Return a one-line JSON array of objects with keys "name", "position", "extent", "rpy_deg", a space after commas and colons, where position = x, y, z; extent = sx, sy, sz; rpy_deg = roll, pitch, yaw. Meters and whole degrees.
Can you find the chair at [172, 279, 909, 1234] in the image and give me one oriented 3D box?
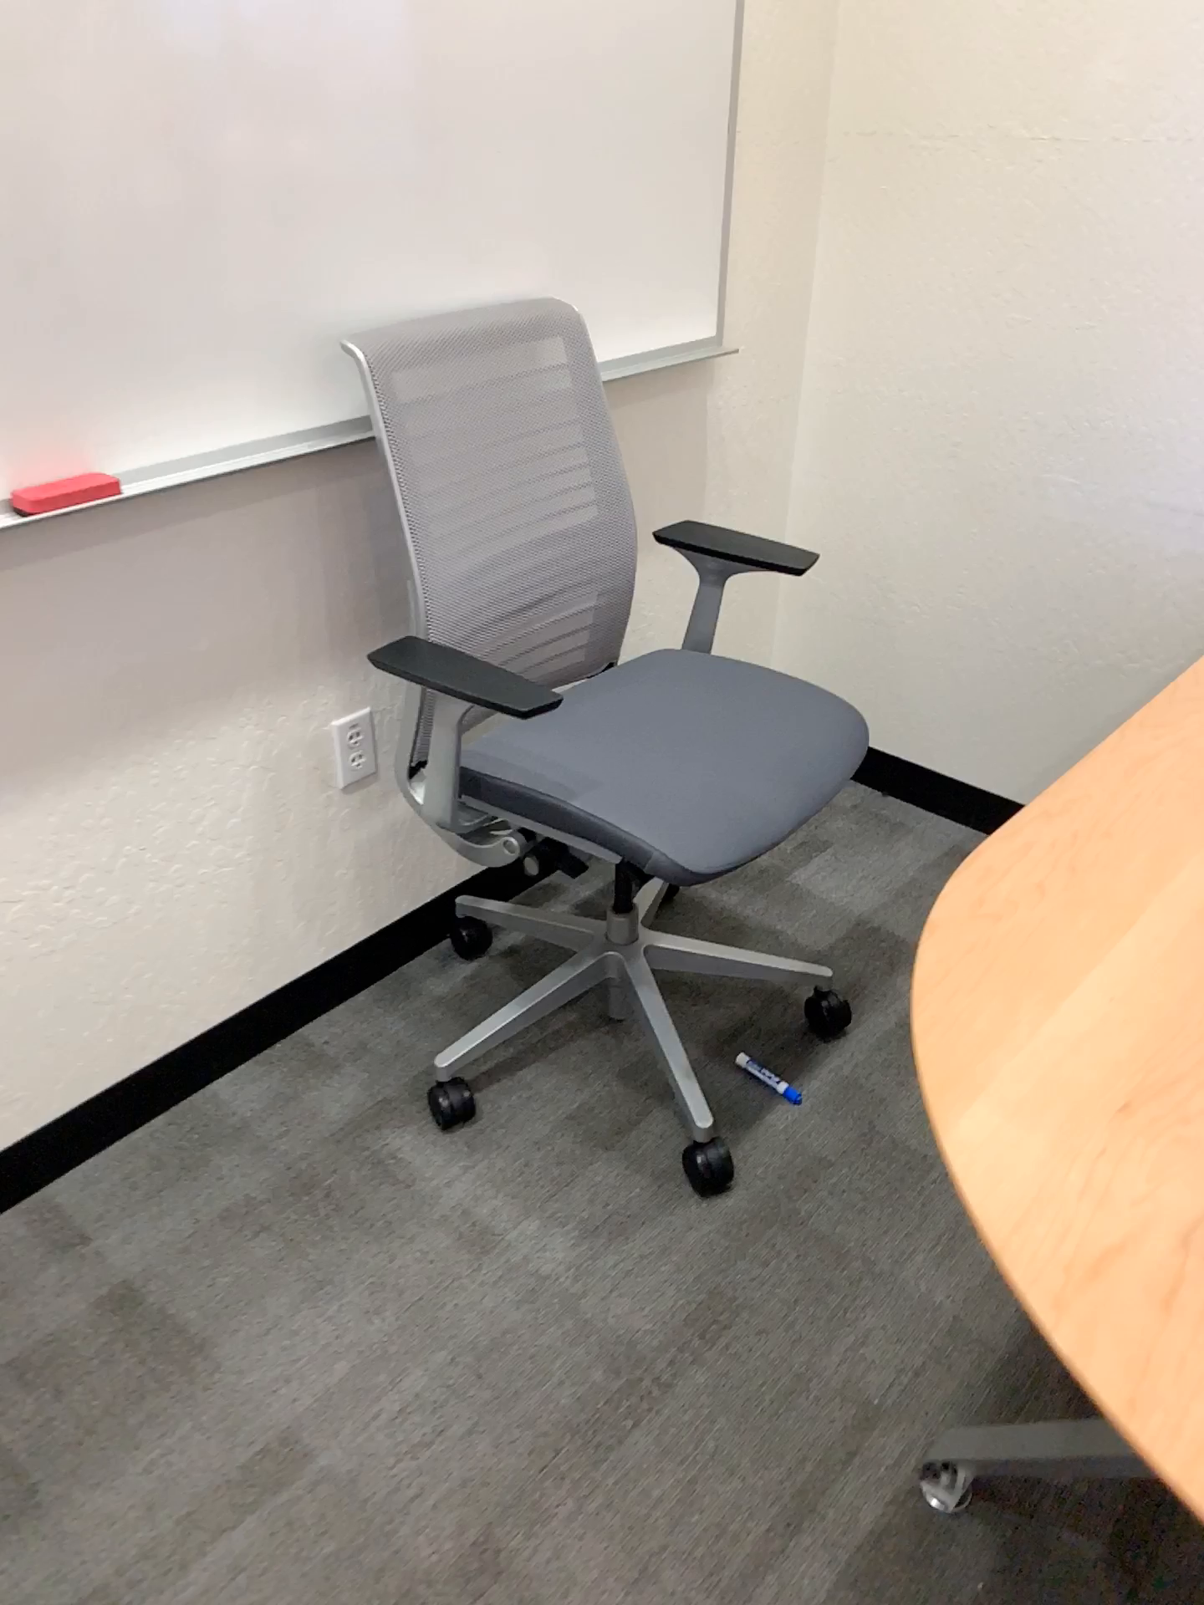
[{"name": "chair", "position": [-0.083, -0.139, 2.074], "extent": [0.752, 1.263, 0.762], "rpy_deg": [22, 35, 32]}]
